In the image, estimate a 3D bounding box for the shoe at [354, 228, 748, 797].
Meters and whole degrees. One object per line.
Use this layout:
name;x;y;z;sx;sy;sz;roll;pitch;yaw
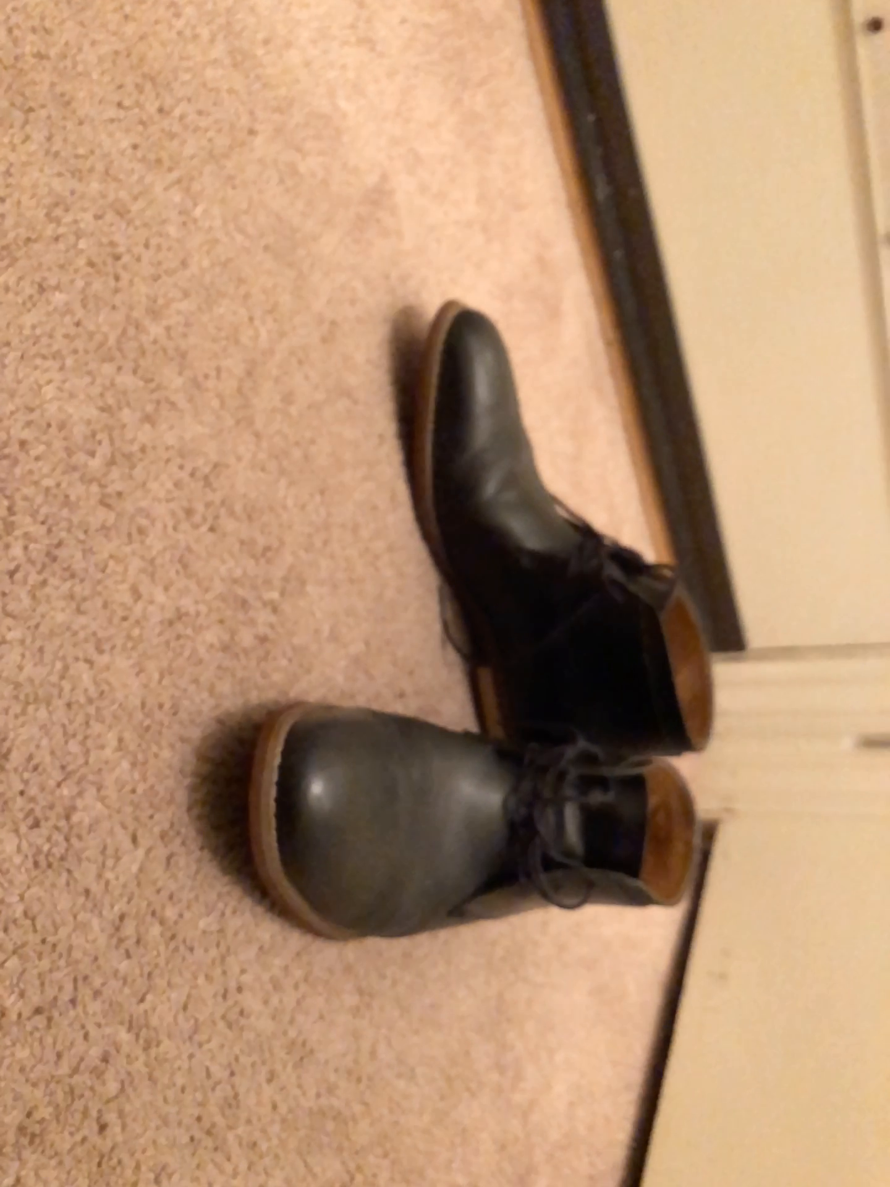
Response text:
shoe;0.079;-0.035;0.593;0.117;0.135;0.302;-54;133;-51

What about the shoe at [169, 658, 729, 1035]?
shoe;0.032;0.113;0.478;0.303;0.135;0.116;23;66;-59
